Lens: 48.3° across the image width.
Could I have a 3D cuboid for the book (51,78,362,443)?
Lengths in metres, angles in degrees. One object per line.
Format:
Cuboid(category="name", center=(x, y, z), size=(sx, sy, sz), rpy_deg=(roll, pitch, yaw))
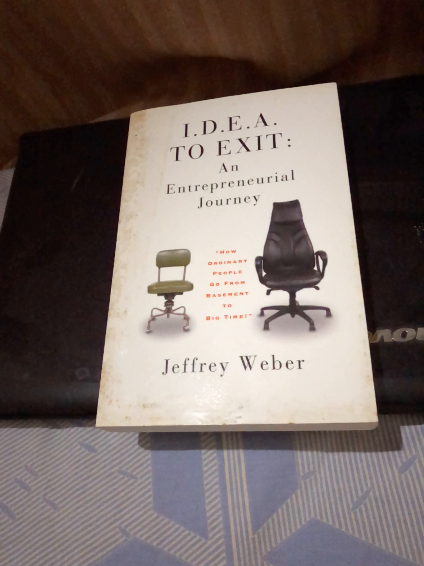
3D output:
Cuboid(category="book", center=(-0.002, -0.025, 0.307), size=(0.160, 0.030, 0.240), rpy_deg=(-5, 62, 11))
